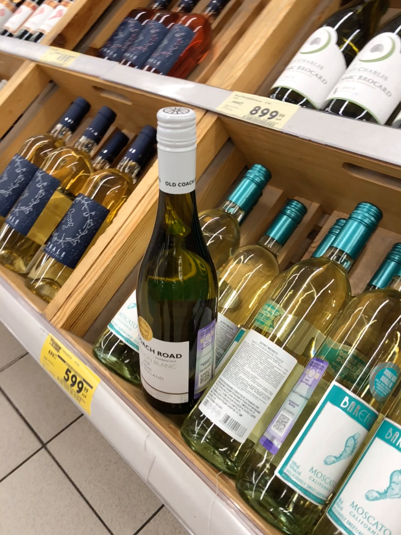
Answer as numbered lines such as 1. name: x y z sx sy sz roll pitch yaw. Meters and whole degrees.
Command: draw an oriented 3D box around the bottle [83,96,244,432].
1. bottle: -0.025 0.010 0.404 0.088 0.290 0.078 -29 44 -34
